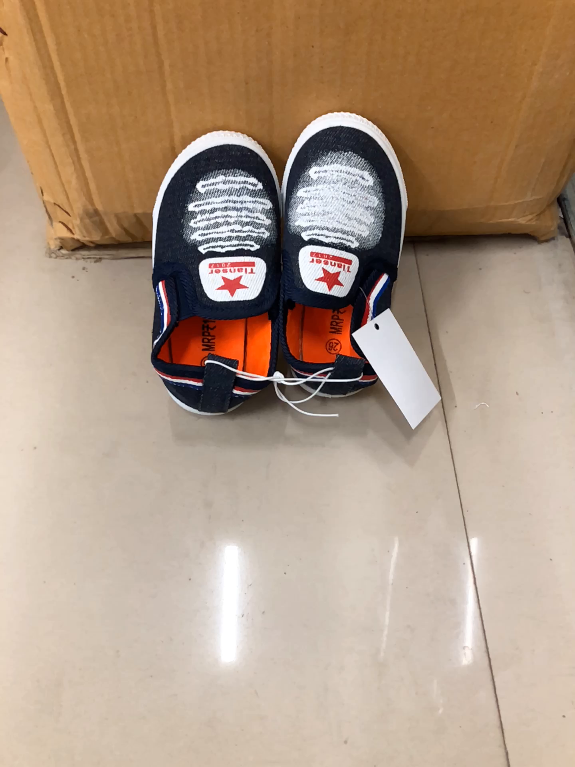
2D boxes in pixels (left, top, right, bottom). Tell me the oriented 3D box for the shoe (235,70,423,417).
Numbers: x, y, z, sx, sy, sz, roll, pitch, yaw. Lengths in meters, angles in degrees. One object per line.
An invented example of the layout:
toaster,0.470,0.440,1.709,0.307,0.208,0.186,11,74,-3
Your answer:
shoe,0.019,-0.074,0.342,0.080,0.159,0.081,4,20,3
